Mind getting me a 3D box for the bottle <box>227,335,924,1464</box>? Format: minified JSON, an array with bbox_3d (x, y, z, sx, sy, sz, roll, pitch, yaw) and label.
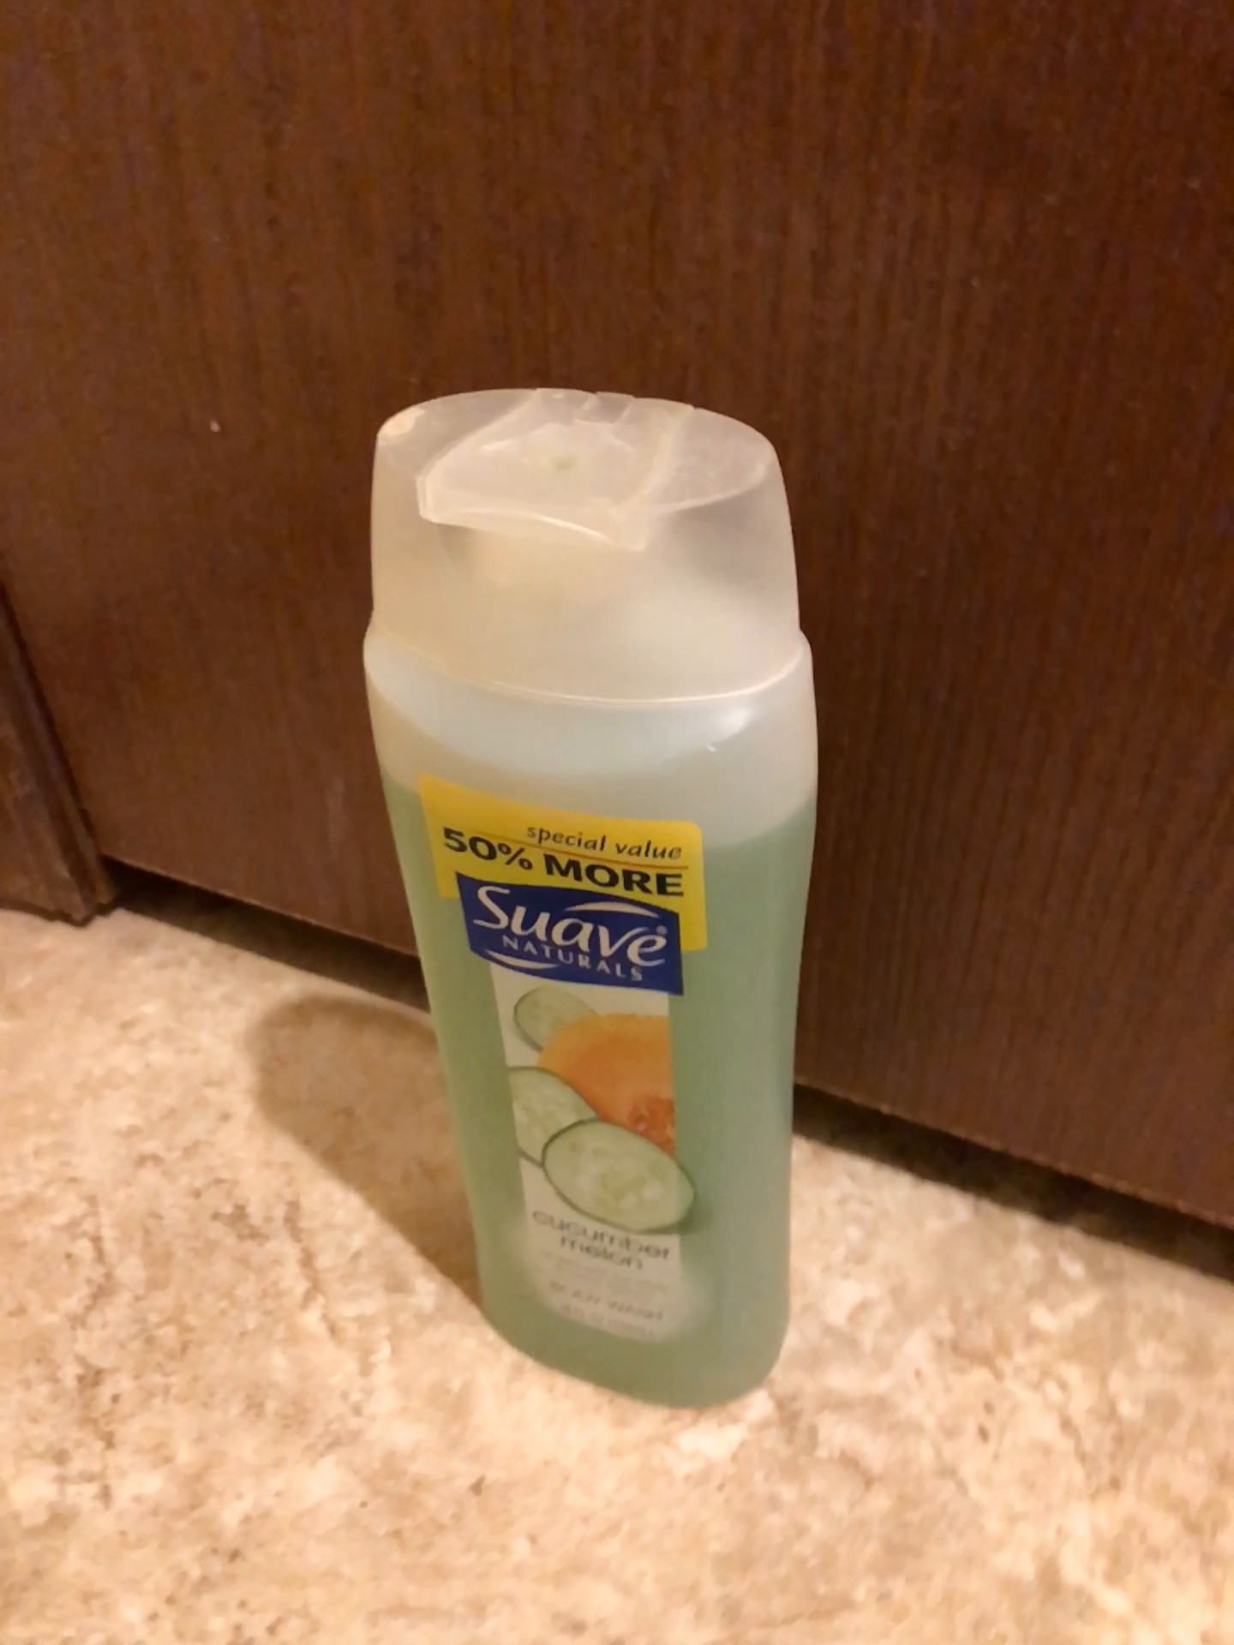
[{"bbox_3d":[0.001,0.034,0.278,0.090,0.239,0.050,11,41,17],"label":"bottle"}]
